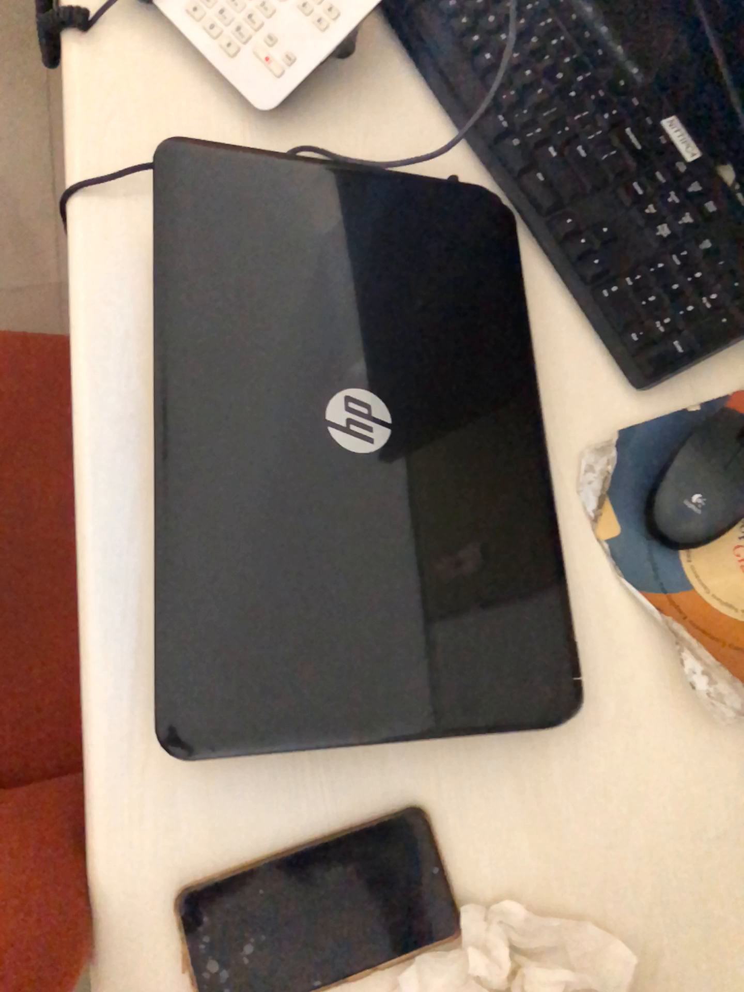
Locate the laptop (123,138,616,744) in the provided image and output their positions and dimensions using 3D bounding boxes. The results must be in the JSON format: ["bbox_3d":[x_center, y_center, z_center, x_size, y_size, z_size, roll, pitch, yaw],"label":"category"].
[{"bbox_3d":[-0.014,-0.041,0.492,0.245,0.072,0.351,-3,74,-3],"label":"laptop"}]
